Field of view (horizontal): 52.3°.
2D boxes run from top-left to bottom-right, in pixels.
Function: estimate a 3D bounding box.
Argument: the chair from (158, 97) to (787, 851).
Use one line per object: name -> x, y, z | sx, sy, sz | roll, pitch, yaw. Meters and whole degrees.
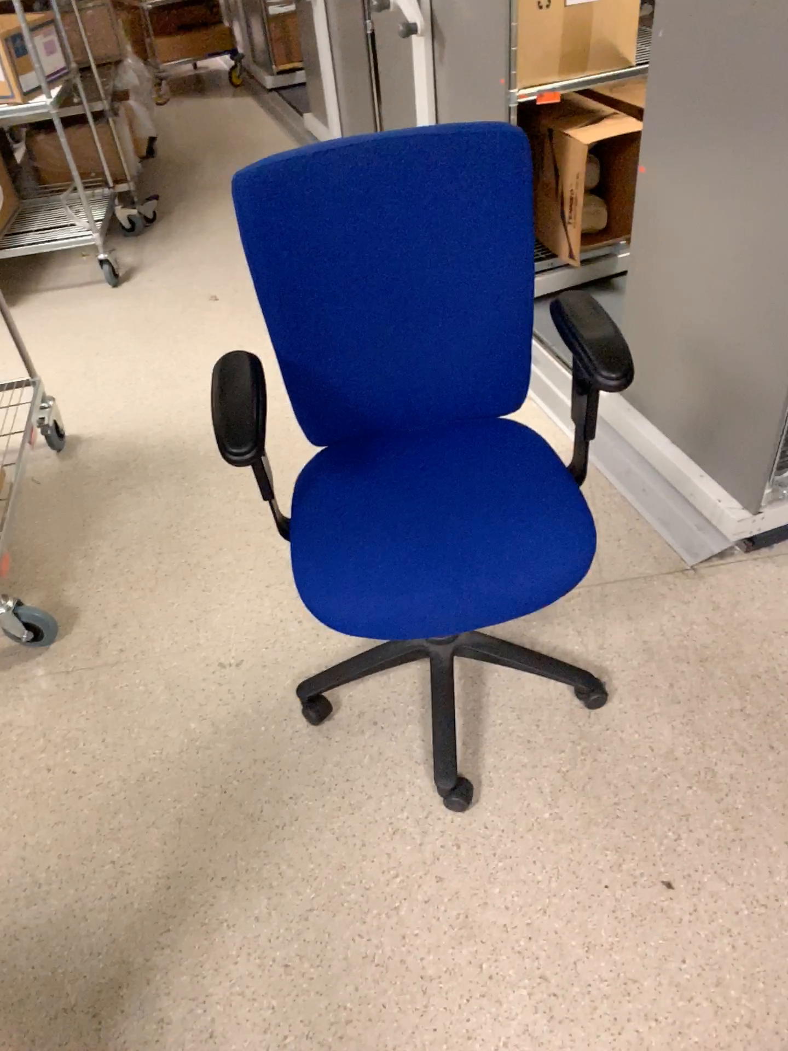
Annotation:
chair -> 0.059, -0.100, 1.411 | 0.670, 0.930, 0.768 | -13, 41, -7
